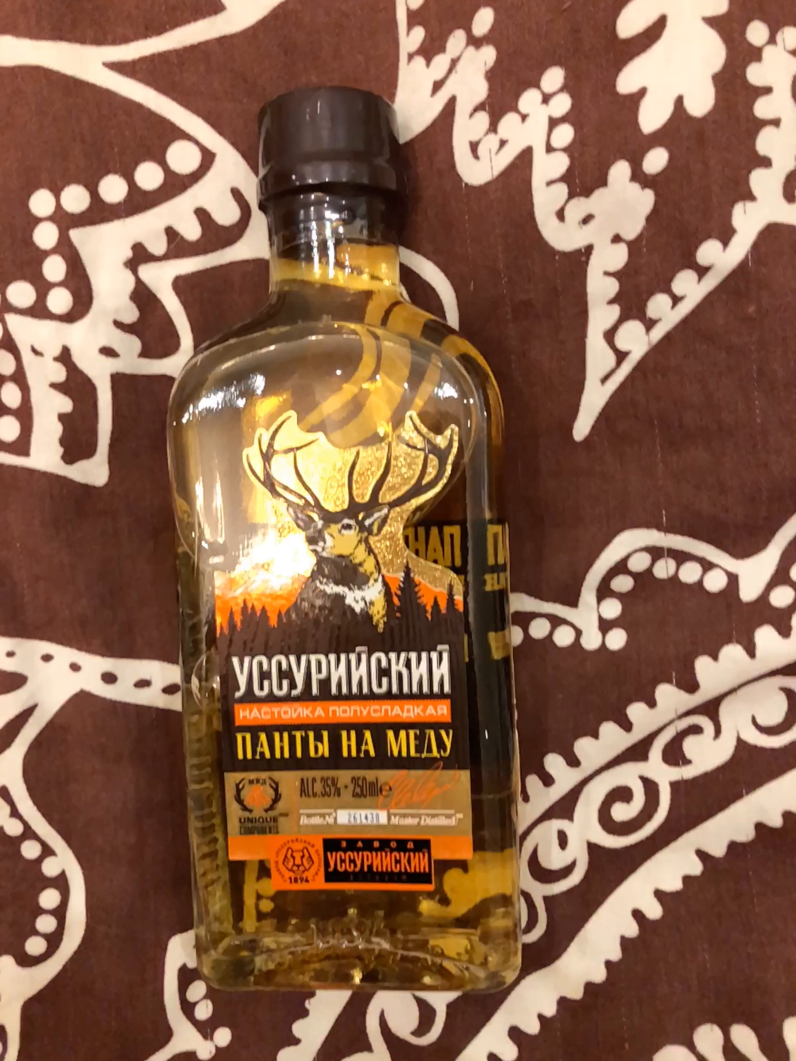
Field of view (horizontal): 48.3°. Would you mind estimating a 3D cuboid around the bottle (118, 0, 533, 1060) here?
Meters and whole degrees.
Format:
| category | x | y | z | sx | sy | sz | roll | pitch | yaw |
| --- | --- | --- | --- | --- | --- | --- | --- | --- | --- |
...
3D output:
| category | x | y | z | sx | sy | sz | roll | pitch | yaw |
| --- | --- | --- | --- | --- | --- | --- | --- | --- | --- |
| bottle | -0.011 | 0.003 | 0.186 | 0.070 | 0.050 | 0.190 | -2 | 91 | 7 |
